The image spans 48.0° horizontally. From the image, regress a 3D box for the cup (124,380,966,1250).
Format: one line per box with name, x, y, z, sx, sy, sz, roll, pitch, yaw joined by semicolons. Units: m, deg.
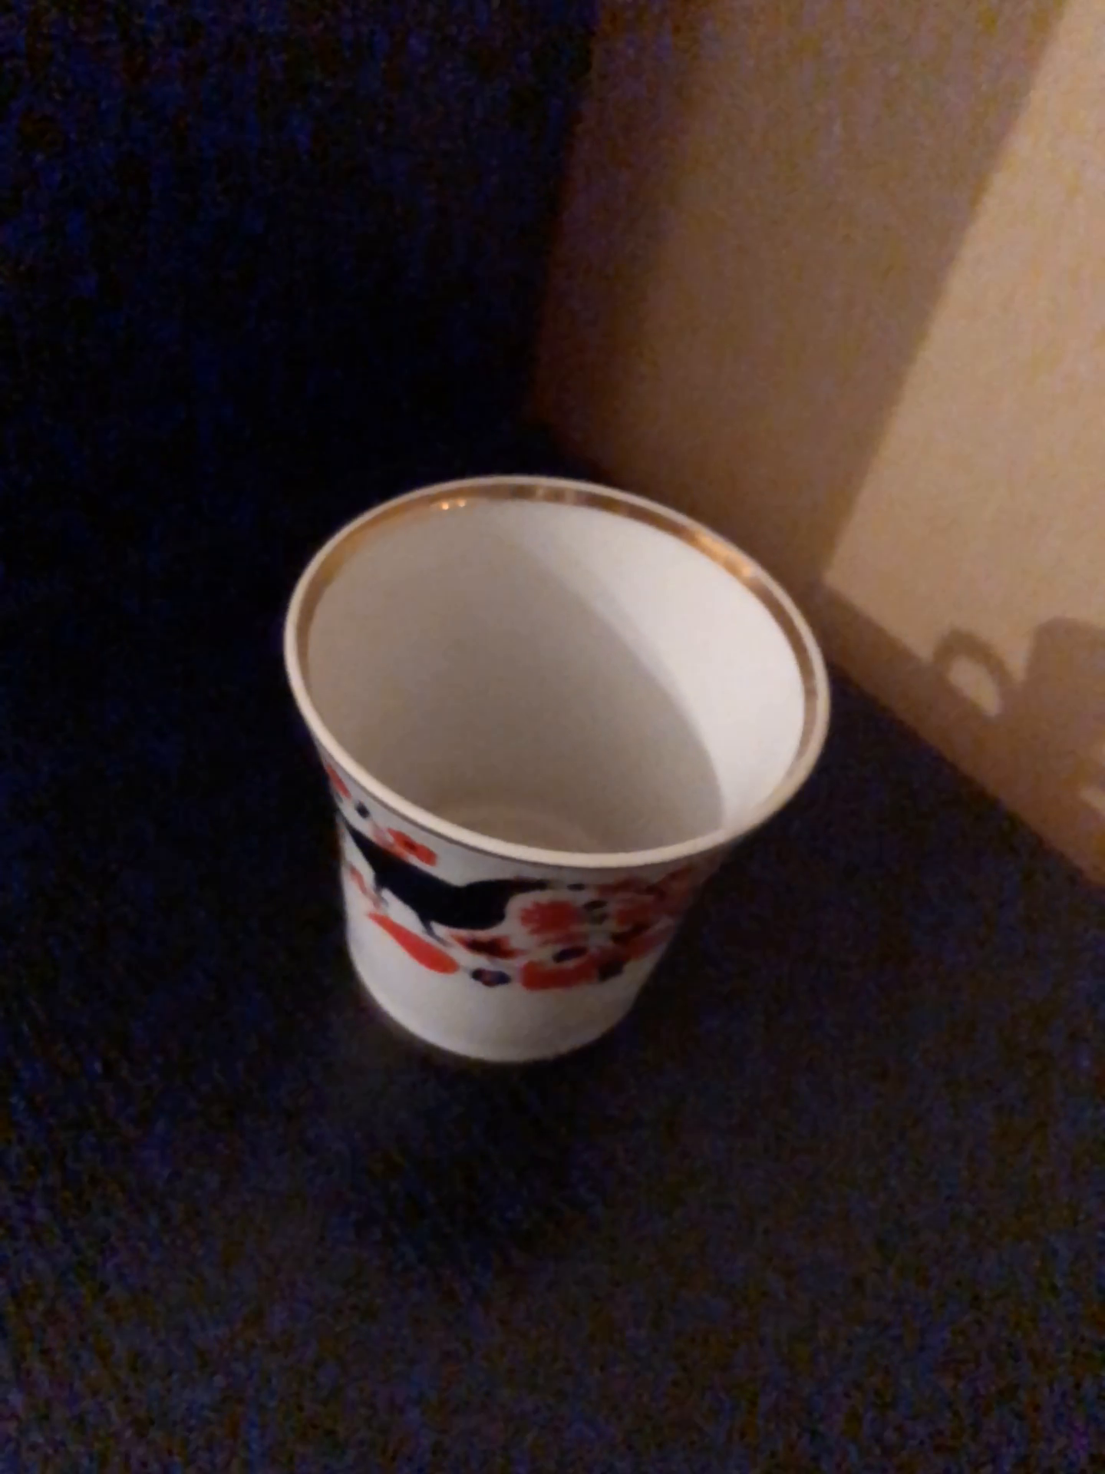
cup;-0.010;0.009;0.260;0.102;0.092;0.125;-24;58;-29
